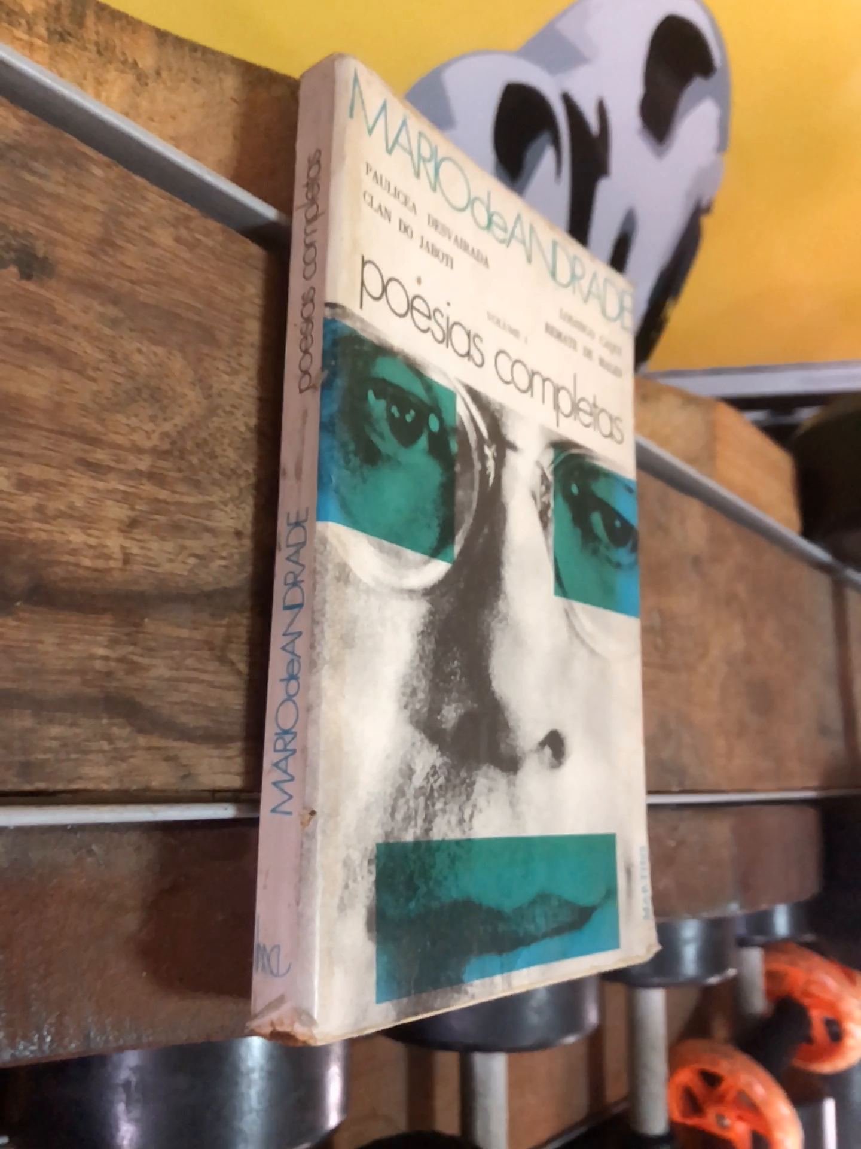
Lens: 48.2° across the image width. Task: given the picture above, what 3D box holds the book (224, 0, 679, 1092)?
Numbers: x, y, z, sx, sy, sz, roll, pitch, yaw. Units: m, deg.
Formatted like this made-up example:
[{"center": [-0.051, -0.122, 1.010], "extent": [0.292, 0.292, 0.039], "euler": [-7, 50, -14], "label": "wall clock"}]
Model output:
[{"center": [0.019, -0.007, 0.235], "extent": [0.141, 0.020, 0.210], "euler": [17, 71, -50], "label": "book"}]
